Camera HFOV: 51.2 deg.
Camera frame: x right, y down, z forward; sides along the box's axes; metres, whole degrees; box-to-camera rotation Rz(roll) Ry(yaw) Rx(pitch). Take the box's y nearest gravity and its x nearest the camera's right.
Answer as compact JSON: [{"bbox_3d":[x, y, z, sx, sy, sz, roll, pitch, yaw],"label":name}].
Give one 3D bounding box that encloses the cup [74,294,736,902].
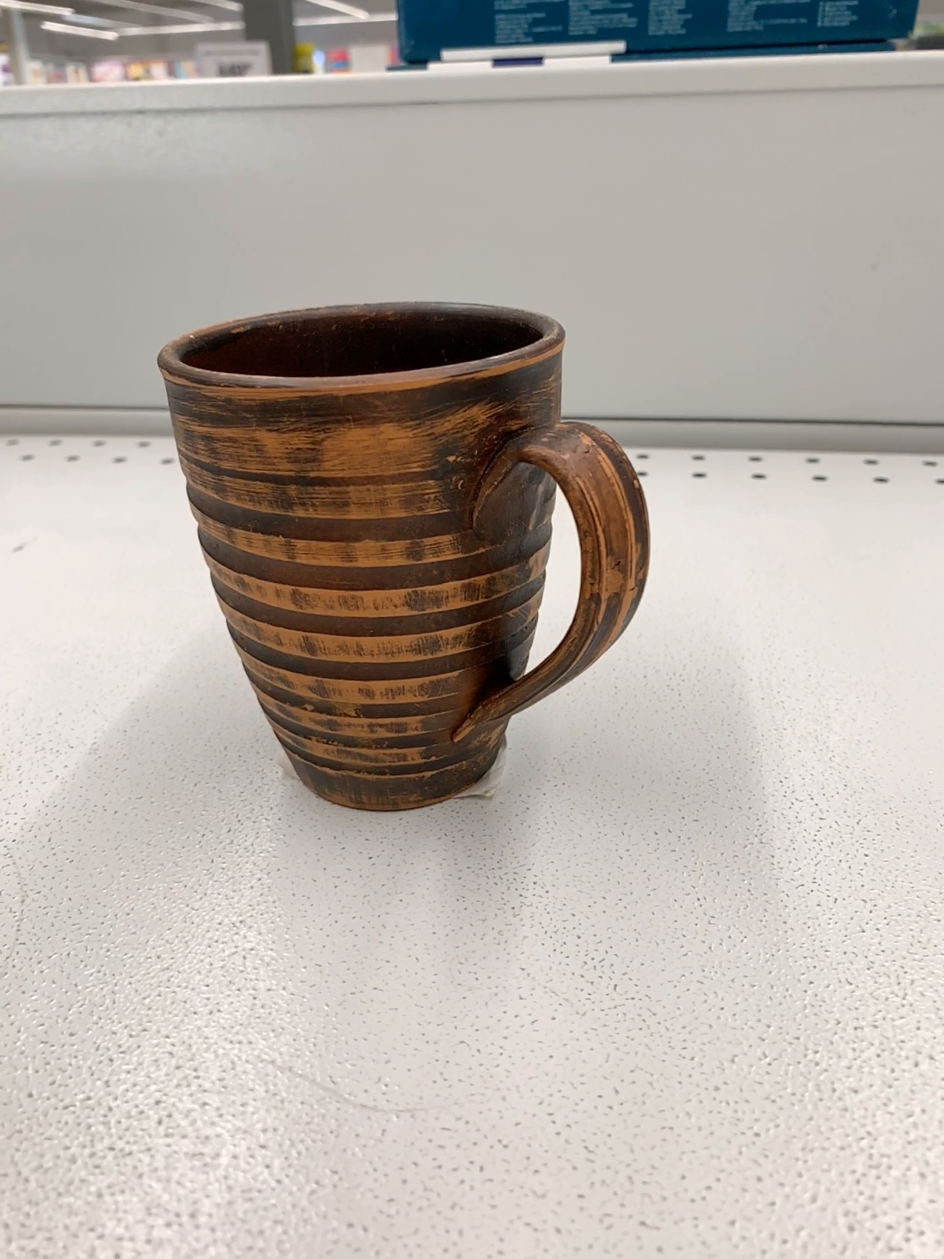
[{"bbox_3d":[-0.012,-0.019,0.220,0.106,0.089,0.084,17,33,33],"label":"cup"}]
